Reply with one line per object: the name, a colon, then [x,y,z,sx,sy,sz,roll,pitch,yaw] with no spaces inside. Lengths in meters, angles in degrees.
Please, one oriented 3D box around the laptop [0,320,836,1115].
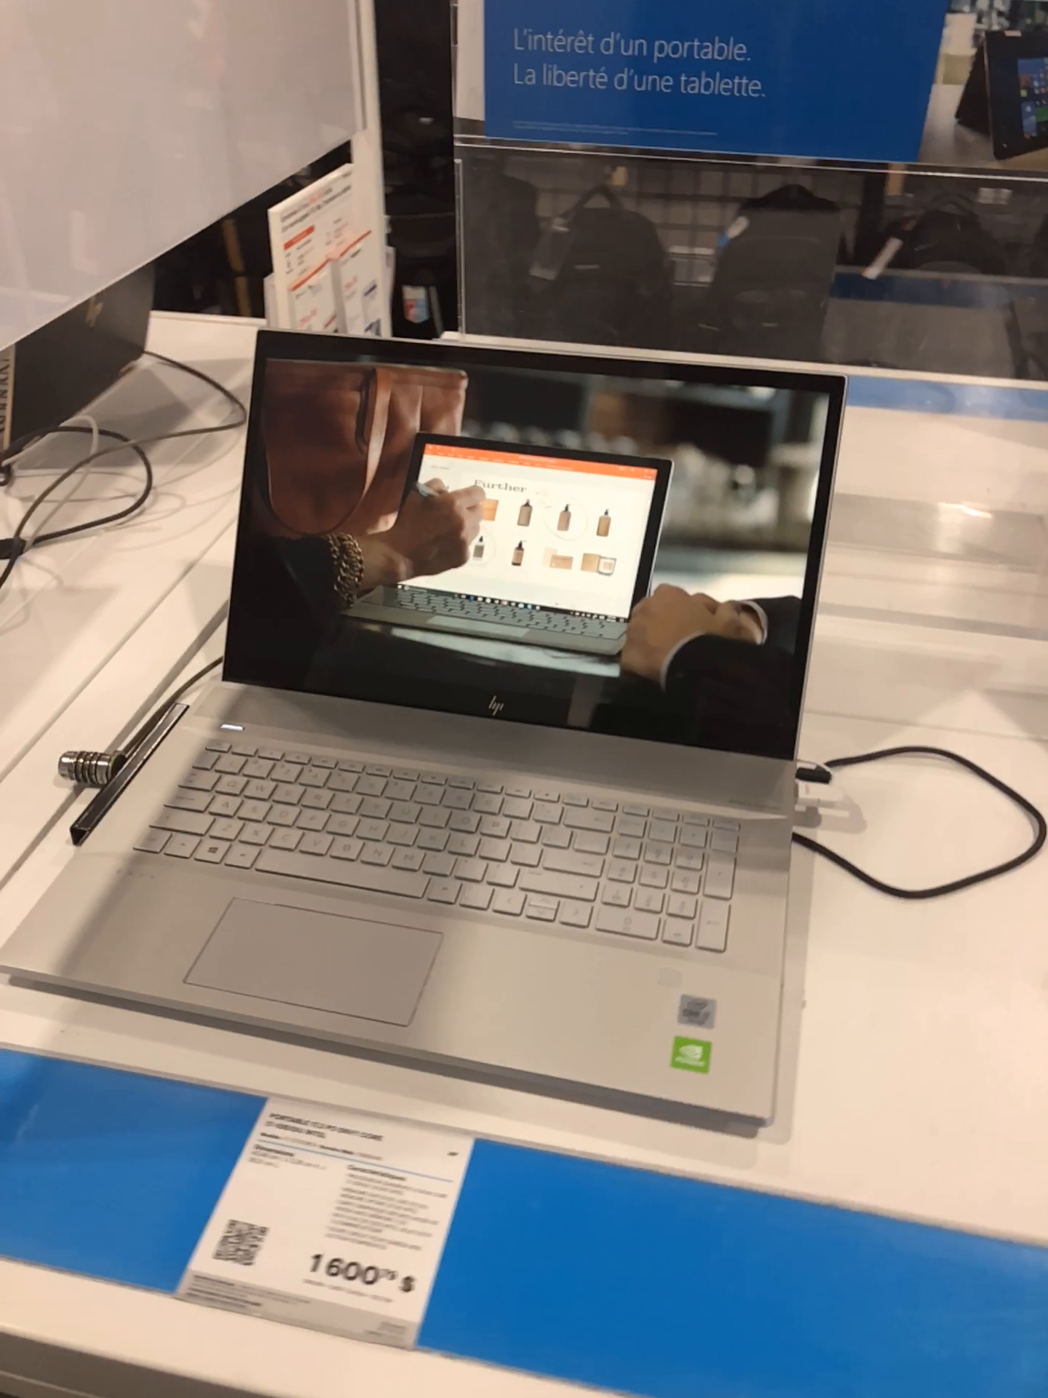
laptop: [-0.038,-0.036,0.661,0.390,0.199,0.399,8,36,10]
